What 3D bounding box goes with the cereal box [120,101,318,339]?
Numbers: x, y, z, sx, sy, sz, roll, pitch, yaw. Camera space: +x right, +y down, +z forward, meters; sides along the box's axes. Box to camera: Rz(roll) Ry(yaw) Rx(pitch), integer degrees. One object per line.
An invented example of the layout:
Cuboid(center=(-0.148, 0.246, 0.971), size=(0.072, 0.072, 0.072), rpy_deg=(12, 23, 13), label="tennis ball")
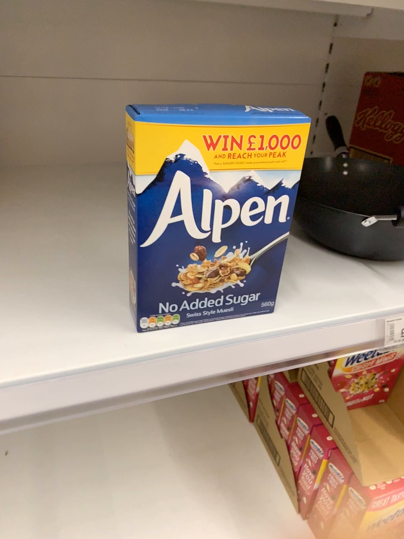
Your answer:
Cuboid(center=(0.009, -0.051, 0.456), size=(0.180, 0.238, 0.060), rpy_deg=(-6, 30, -17), label="cereal box")
